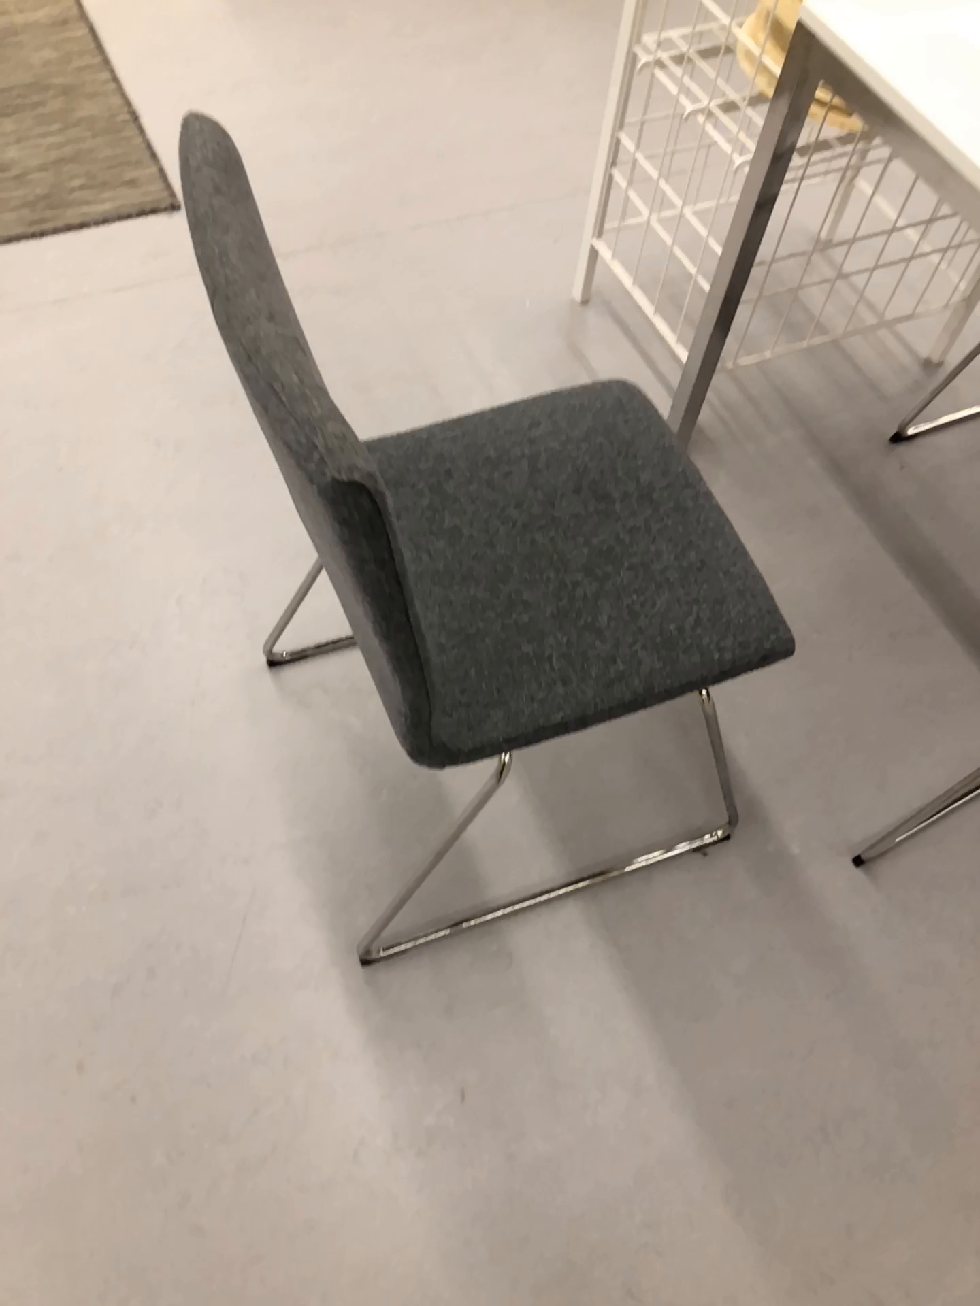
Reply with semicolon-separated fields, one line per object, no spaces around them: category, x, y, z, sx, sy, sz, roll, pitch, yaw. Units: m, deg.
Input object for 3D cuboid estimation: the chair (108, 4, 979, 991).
chair;0.031;-0.095;1.145;0.590;0.836;0.512;-16;61;-15
